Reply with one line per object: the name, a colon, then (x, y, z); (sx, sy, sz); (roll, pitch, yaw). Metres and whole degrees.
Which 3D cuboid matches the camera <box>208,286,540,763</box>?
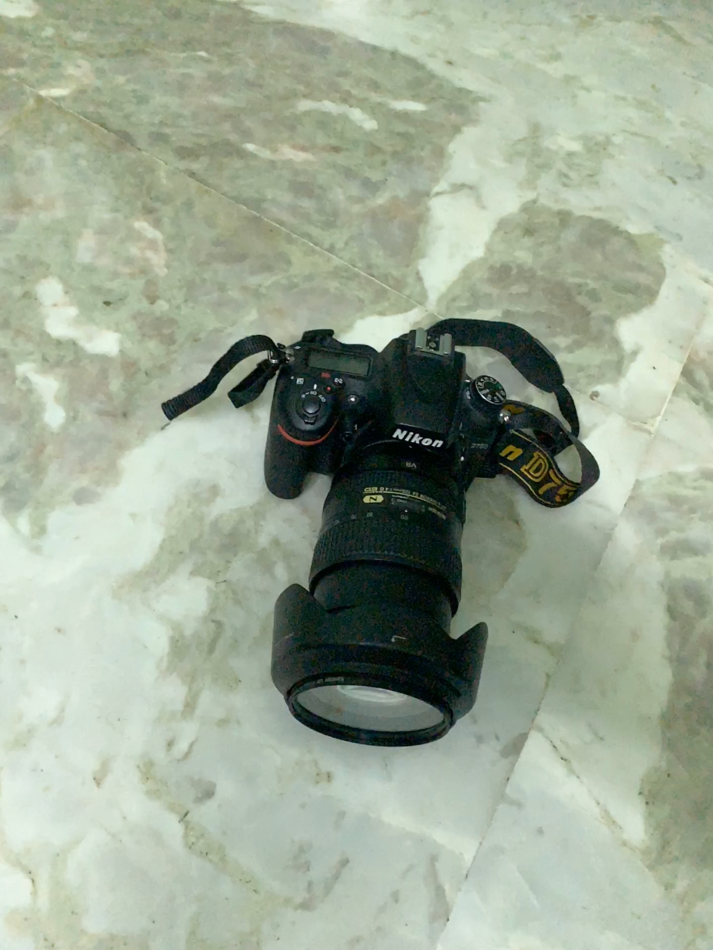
camera: (0.010, 0.021, 0.376); (0.130, 0.090, 0.210); (10, 56, -6)
